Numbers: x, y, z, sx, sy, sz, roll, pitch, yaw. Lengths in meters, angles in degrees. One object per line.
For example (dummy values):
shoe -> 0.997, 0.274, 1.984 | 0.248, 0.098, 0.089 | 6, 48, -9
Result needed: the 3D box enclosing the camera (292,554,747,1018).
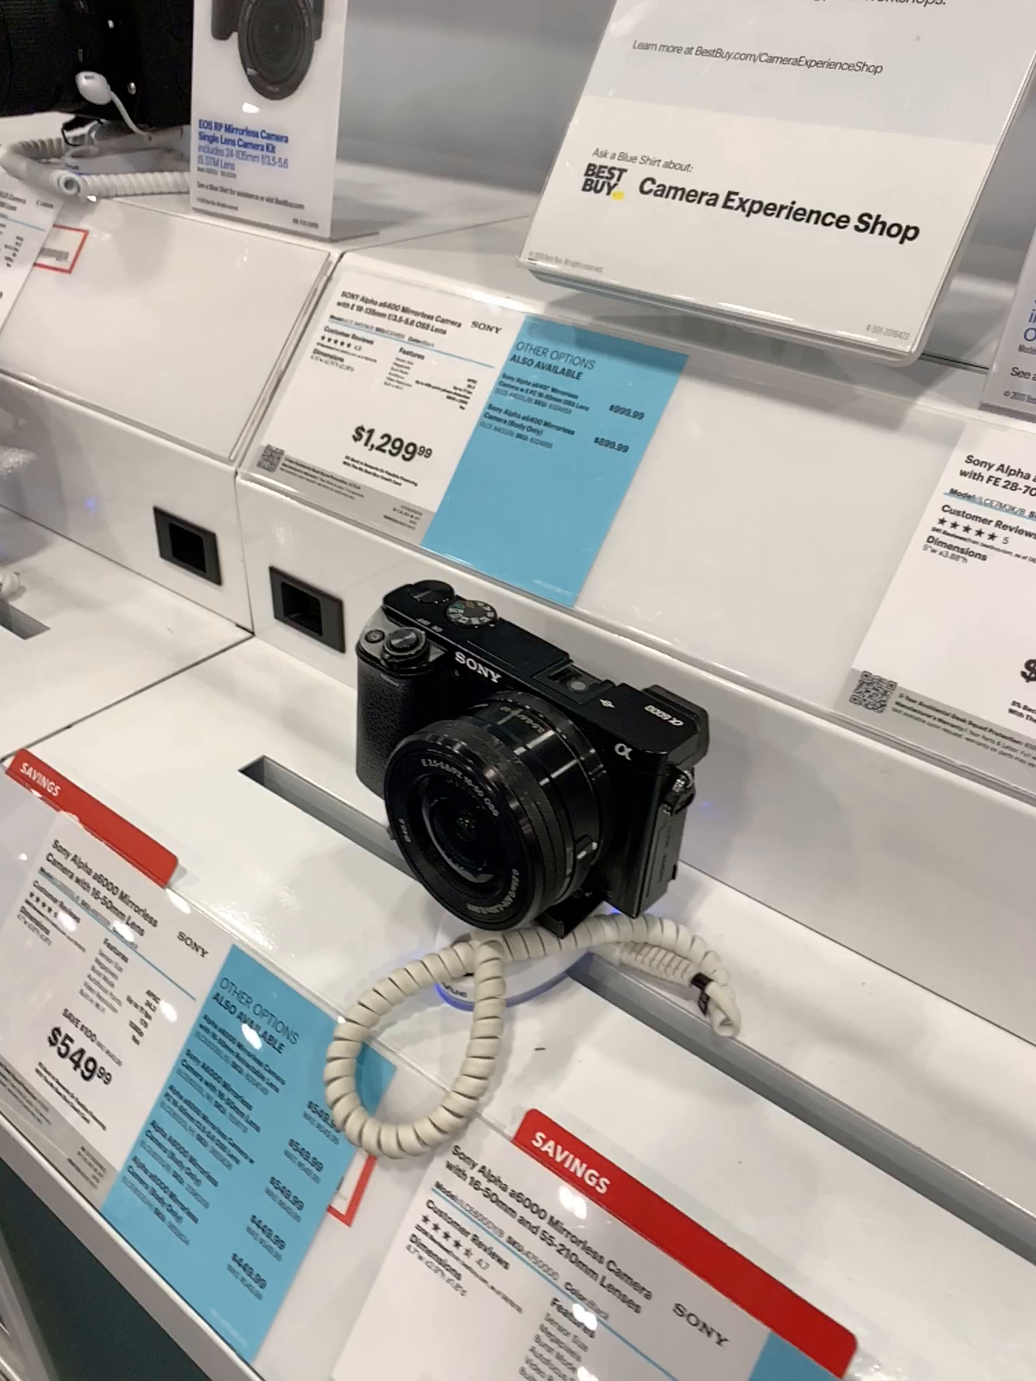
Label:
camera -> -0.005, 0.023, 0.341 | 0.130, 0.080, 0.060 | 29, 40, 33
